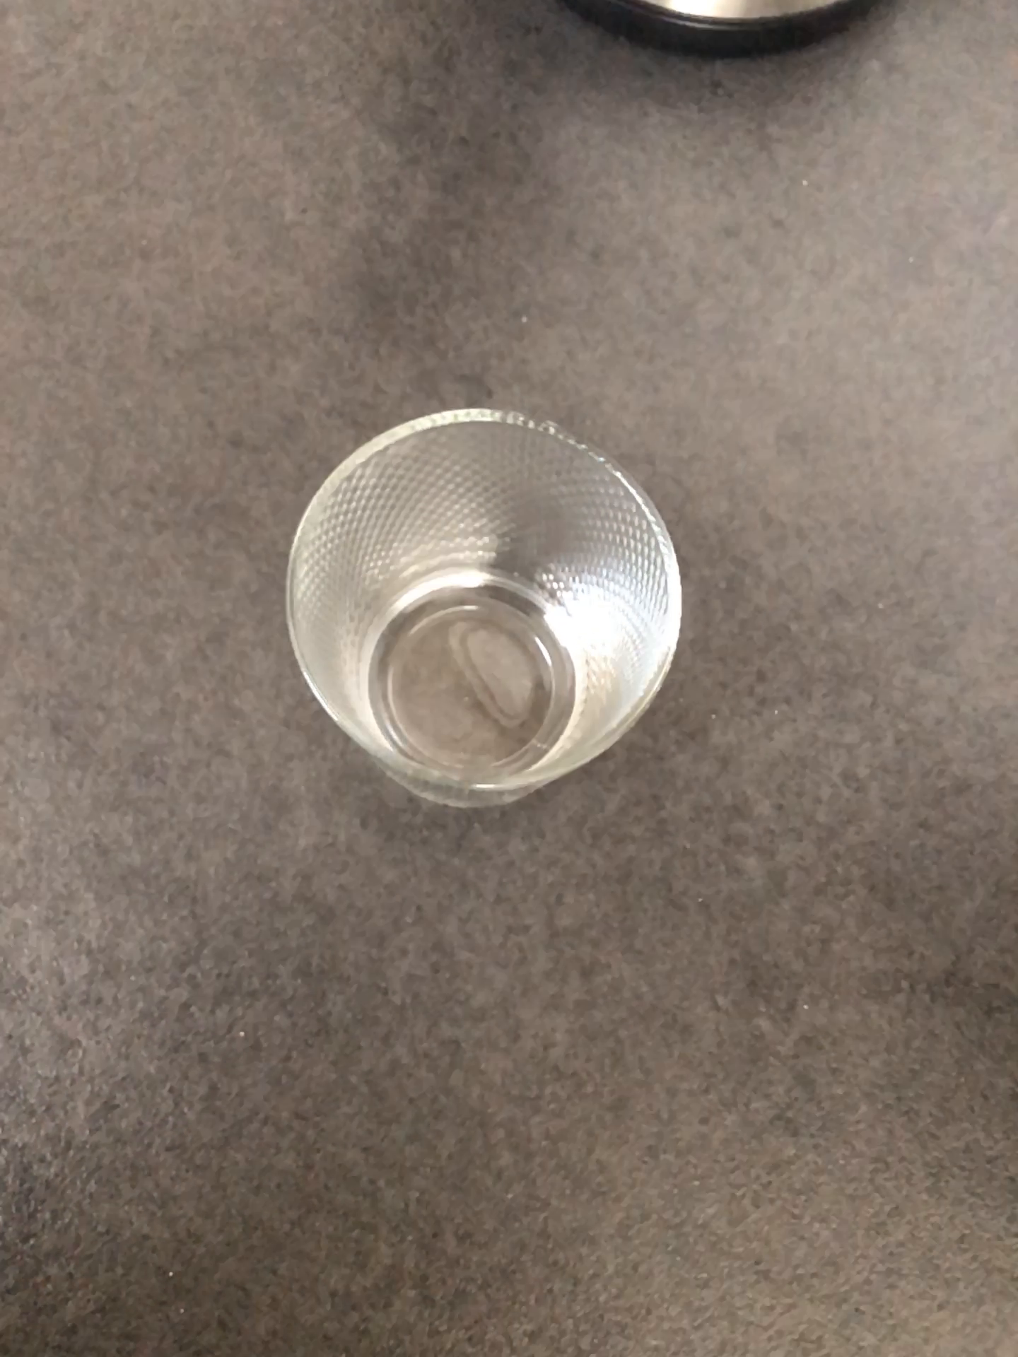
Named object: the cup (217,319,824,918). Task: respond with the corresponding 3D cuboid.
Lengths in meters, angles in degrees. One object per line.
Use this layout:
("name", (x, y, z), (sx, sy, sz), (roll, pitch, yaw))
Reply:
("cup", (0.000, -0.006, 0.254), (0.080, 0.090, 0.080), (1, 76, -4))
